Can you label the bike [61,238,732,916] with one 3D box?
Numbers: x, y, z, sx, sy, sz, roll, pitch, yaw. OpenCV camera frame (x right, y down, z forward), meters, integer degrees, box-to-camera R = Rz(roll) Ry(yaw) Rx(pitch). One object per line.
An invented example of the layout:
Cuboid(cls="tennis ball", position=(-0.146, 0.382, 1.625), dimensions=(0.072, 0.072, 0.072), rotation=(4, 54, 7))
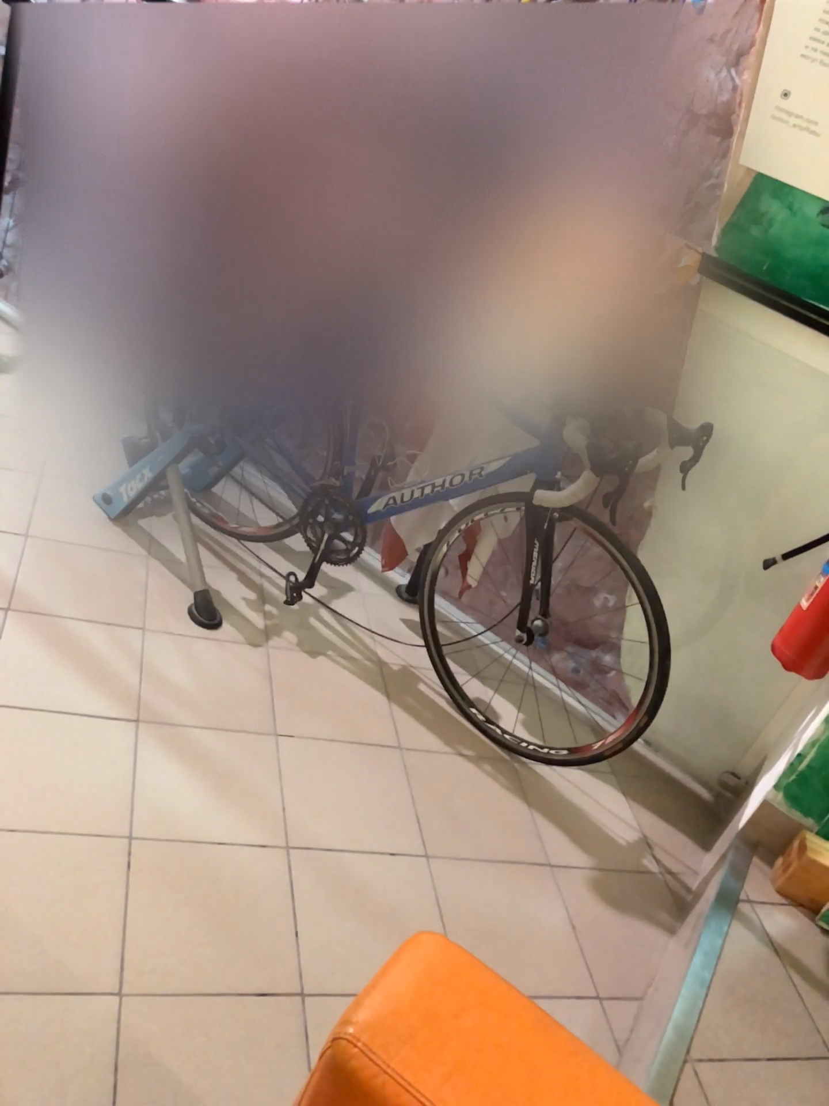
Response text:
Cuboid(cls="bike", position=(-0.116, -0.037, 2.181), dimensions=(1.554, 0.682, 0.467), rotation=(38, 31, 18))
